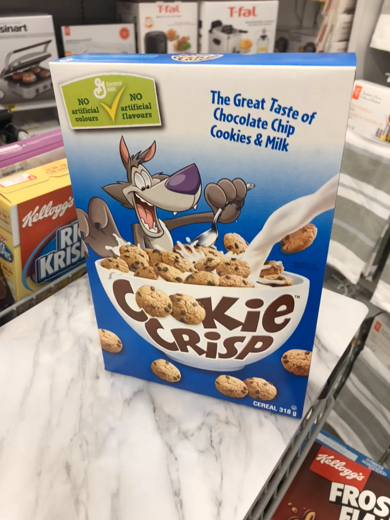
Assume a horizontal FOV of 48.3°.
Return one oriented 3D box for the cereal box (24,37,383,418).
[{"bbox_3d":[0.003,-0.017,0.331,0.210,0.269,0.050,9,32,16],"label":"cereal box"}]
